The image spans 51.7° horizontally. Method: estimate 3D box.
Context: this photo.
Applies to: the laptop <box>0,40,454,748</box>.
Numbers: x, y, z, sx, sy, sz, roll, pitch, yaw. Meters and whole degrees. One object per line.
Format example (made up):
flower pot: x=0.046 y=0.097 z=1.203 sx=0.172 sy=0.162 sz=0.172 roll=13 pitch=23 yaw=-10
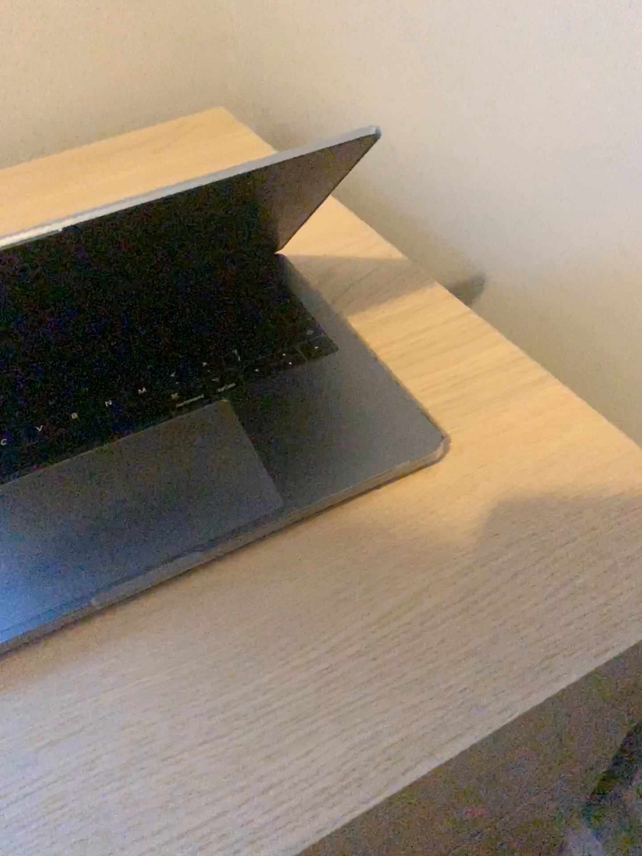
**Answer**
laptop: x=-0.122 y=-0.047 z=0.297 sx=0.290 sy=0.130 sz=0.205 roll=-22 pitch=45 yaw=-14
